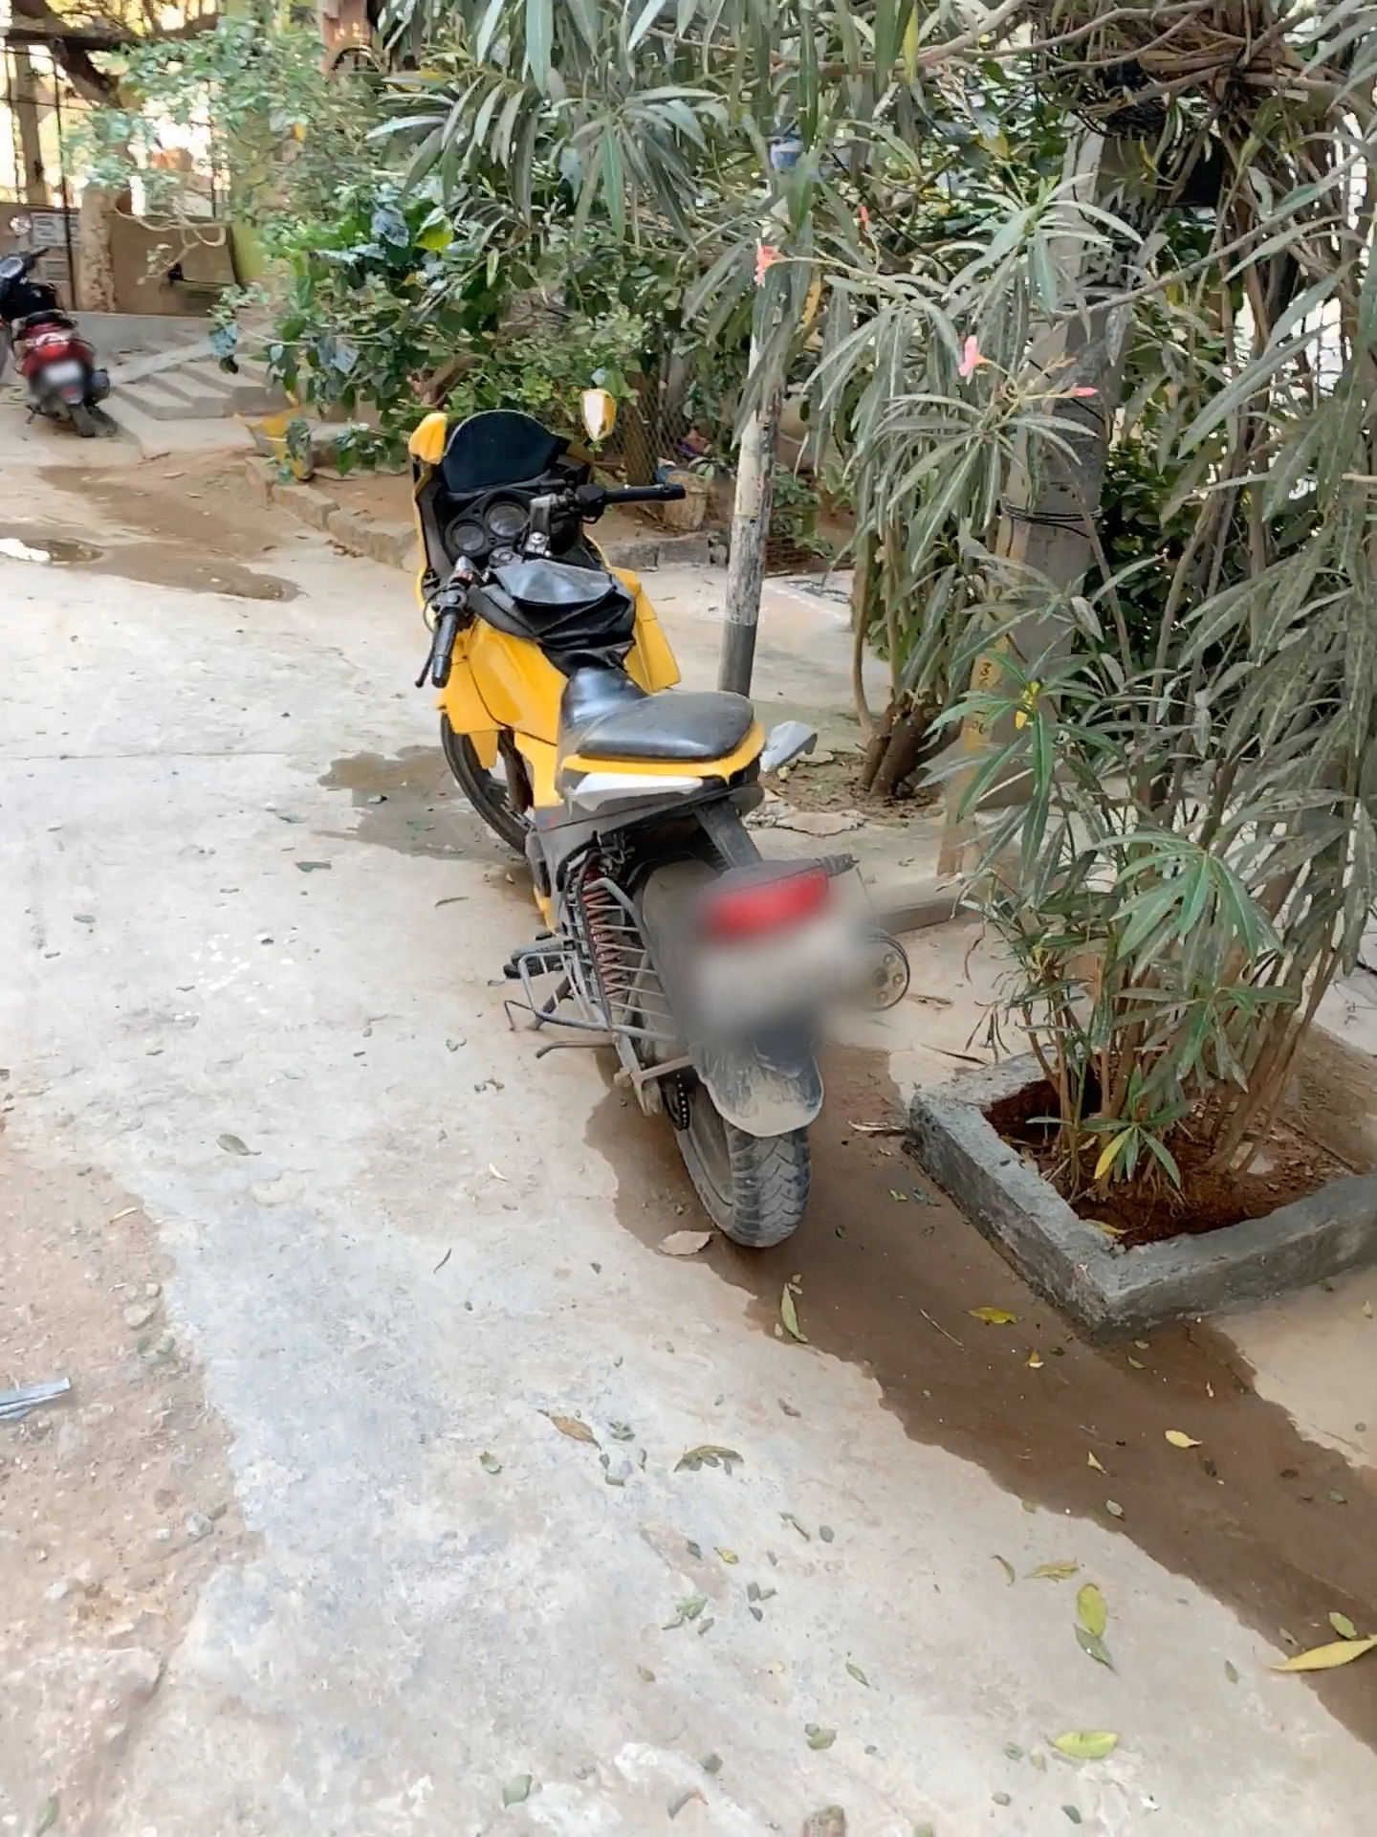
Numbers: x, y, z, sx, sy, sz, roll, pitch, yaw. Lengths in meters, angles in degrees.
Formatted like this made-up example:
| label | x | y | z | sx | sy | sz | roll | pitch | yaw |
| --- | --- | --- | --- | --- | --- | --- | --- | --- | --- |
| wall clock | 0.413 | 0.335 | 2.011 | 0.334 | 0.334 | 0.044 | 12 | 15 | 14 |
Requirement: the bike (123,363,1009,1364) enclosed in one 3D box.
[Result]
| label | x | y | z | sx | sy | sz | roll | pitch | yaw |
| --- | --- | --- | --- | --- | --- | --- | --- | --- | --- |
| bike | -0.416 | -0.279 | 2.505 | 0.853 | 0.954 | 1.753 | -6 | 31 | -24 |
